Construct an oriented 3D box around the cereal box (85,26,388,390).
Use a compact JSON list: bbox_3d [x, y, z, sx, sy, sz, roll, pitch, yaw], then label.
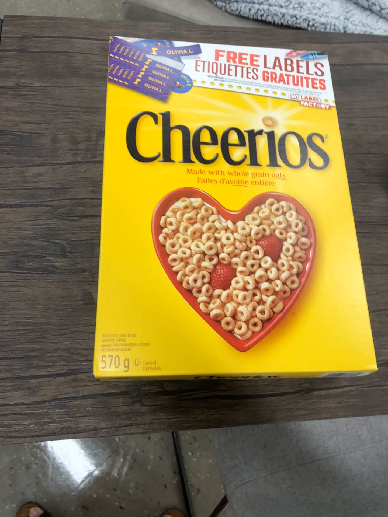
[{"bbox_3d":[0.026,-0.051,0.433,0.240,0.100,0.340,0,72,-7],"label":"cereal box"}]
